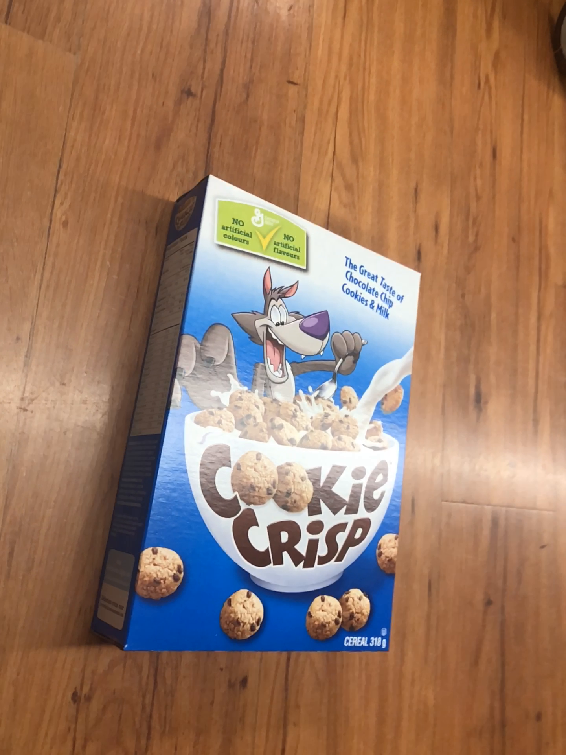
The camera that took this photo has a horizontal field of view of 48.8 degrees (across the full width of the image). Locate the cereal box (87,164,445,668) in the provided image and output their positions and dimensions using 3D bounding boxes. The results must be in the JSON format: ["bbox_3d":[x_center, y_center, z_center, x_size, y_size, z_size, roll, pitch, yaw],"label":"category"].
[{"bbox_3d":[0.005,0.035,0.419,0.201,0.060,0.280,16,76,-33],"label":"cereal box"}]
